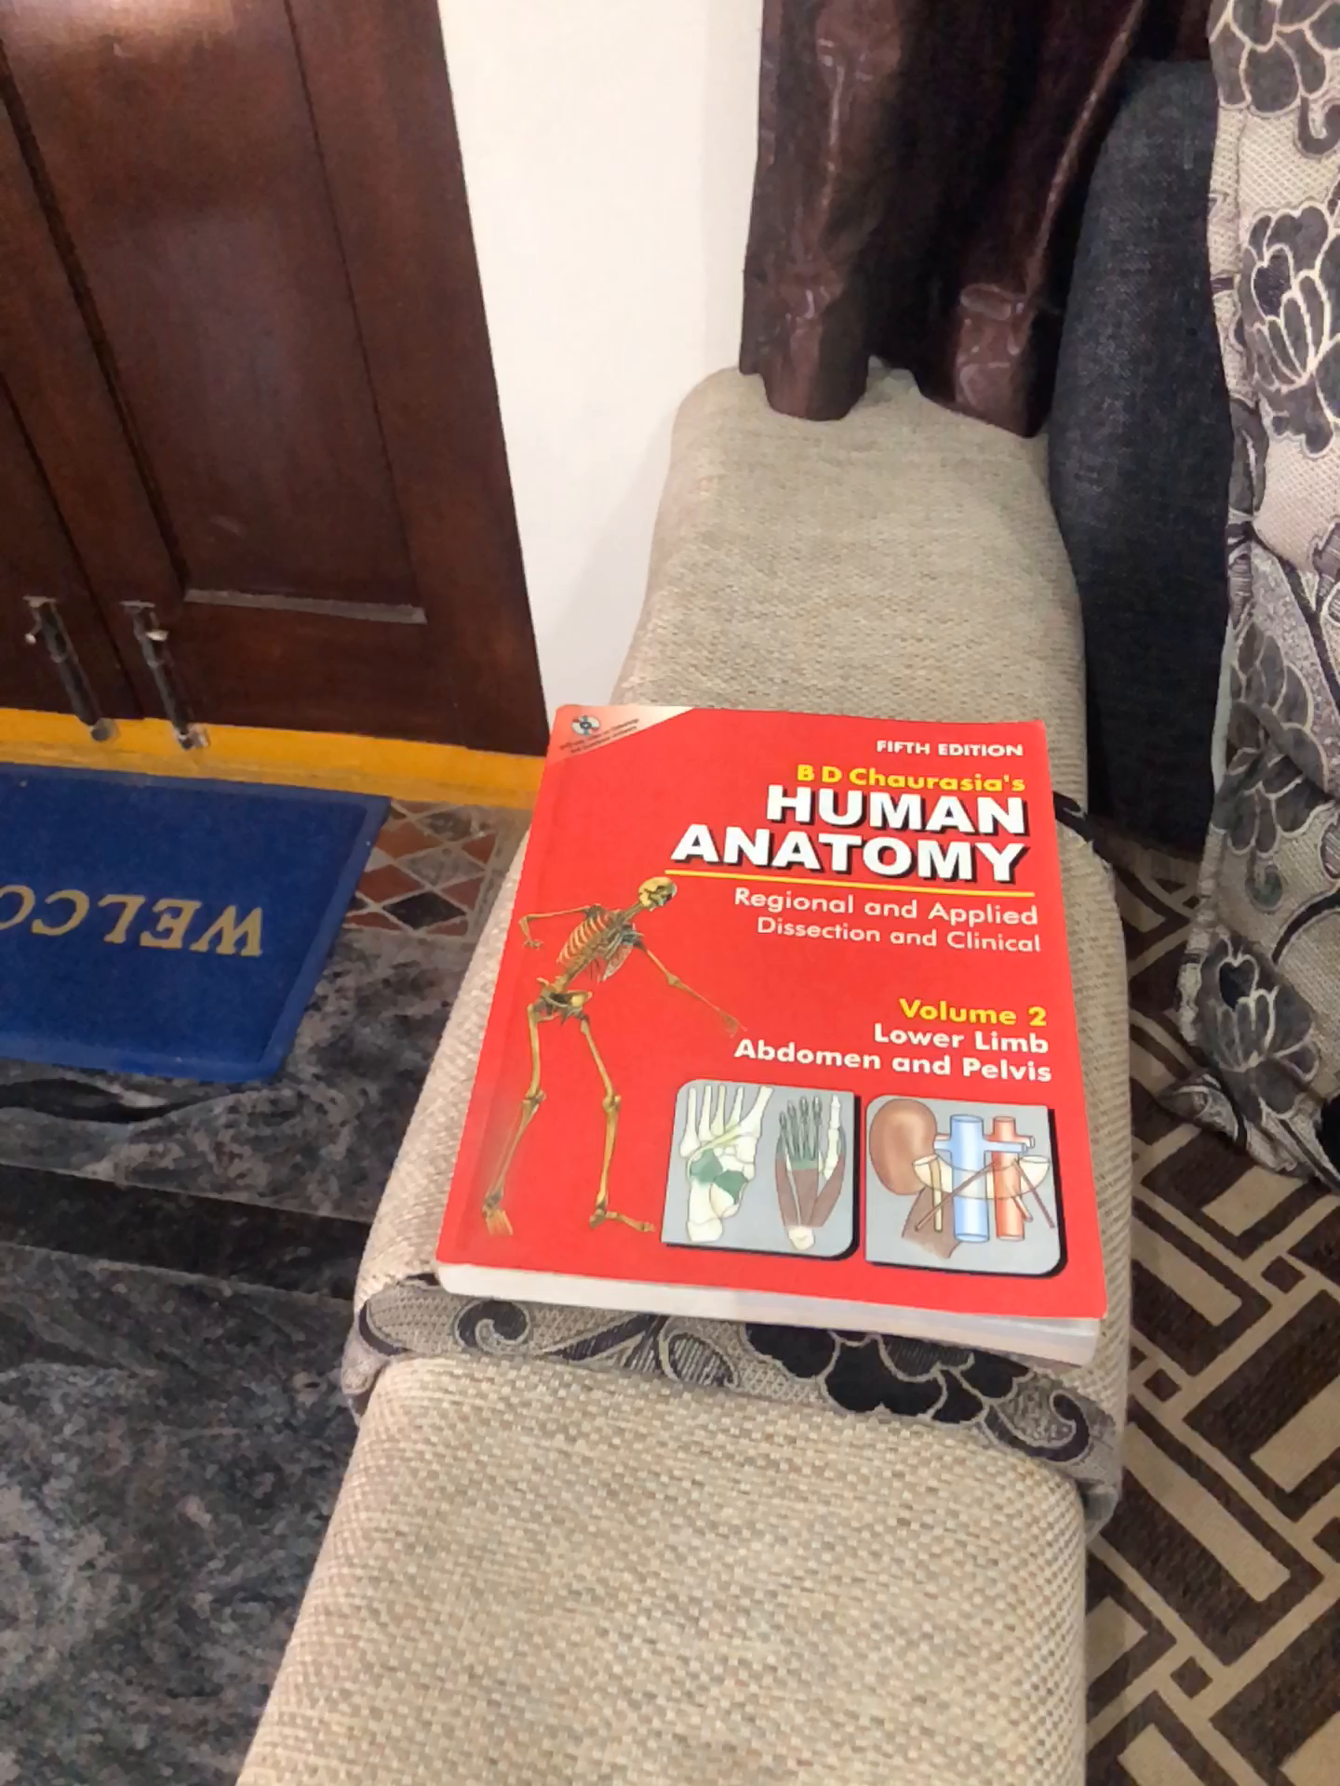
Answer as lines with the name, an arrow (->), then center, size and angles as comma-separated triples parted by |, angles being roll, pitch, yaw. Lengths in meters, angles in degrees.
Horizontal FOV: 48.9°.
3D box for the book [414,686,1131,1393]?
book -> 0.045, 0.034, 0.564 | 0.220, 0.040, 0.291 | 3, 48, 6
